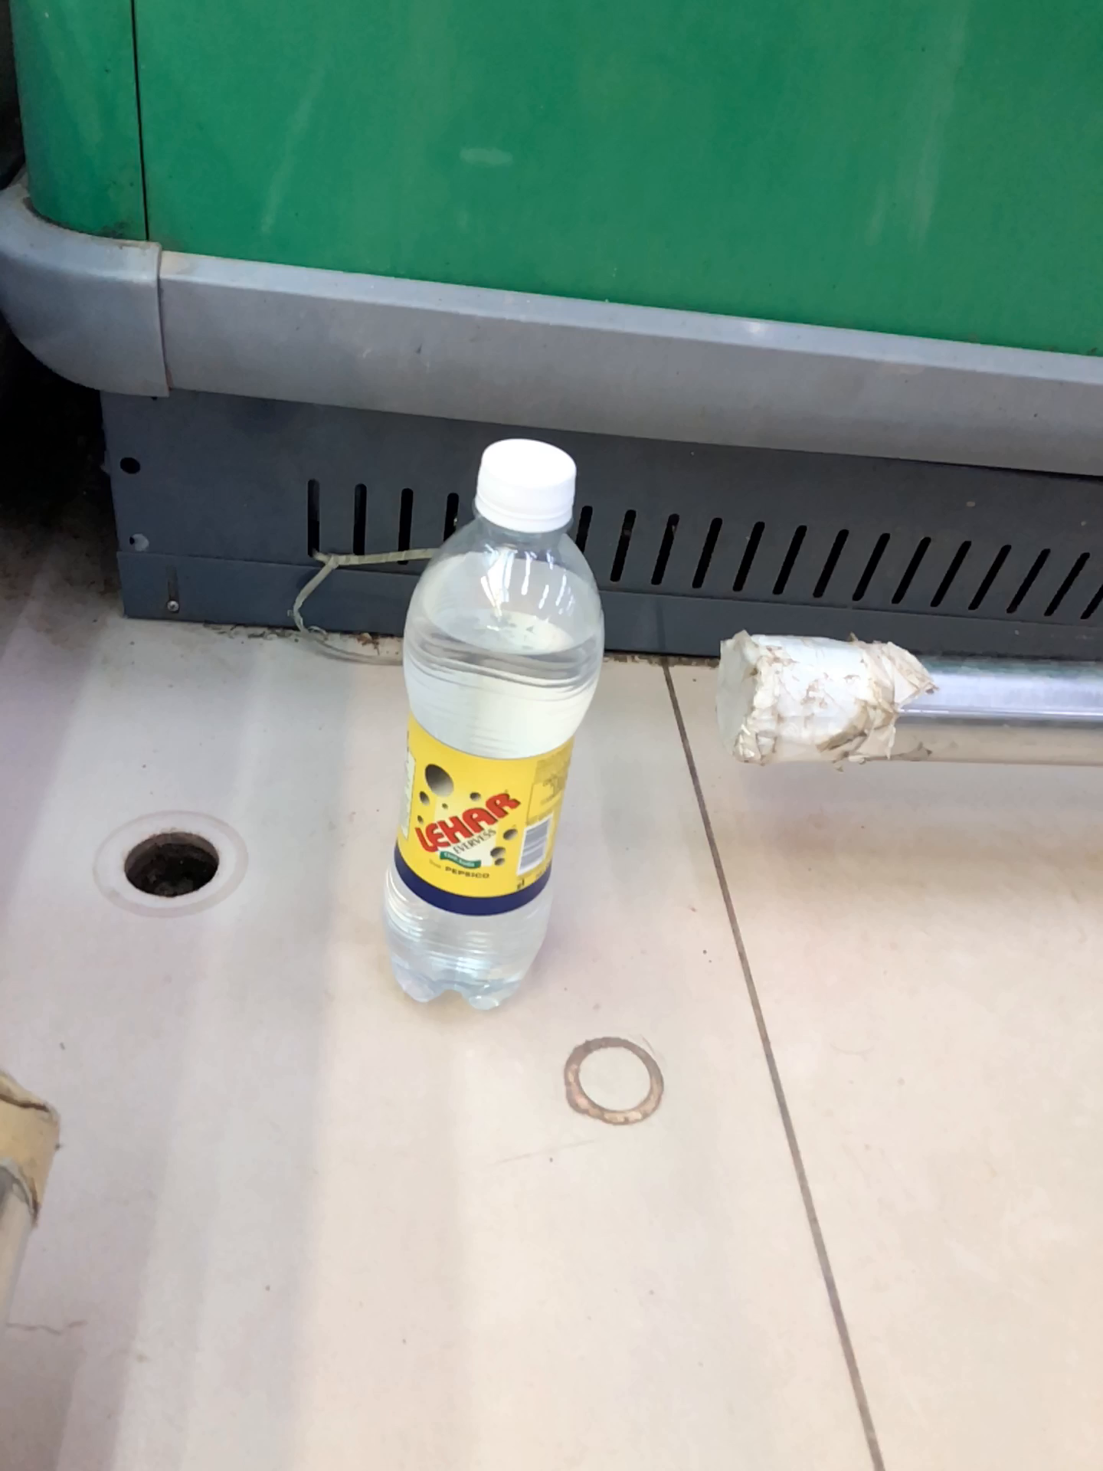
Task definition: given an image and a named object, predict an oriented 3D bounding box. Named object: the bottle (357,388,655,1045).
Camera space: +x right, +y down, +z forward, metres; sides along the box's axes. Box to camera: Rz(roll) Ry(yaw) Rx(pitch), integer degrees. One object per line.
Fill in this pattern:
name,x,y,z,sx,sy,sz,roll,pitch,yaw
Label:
bottle,-0.022,0.004,0.435,0.070,0.228,0.071,6,38,-5
